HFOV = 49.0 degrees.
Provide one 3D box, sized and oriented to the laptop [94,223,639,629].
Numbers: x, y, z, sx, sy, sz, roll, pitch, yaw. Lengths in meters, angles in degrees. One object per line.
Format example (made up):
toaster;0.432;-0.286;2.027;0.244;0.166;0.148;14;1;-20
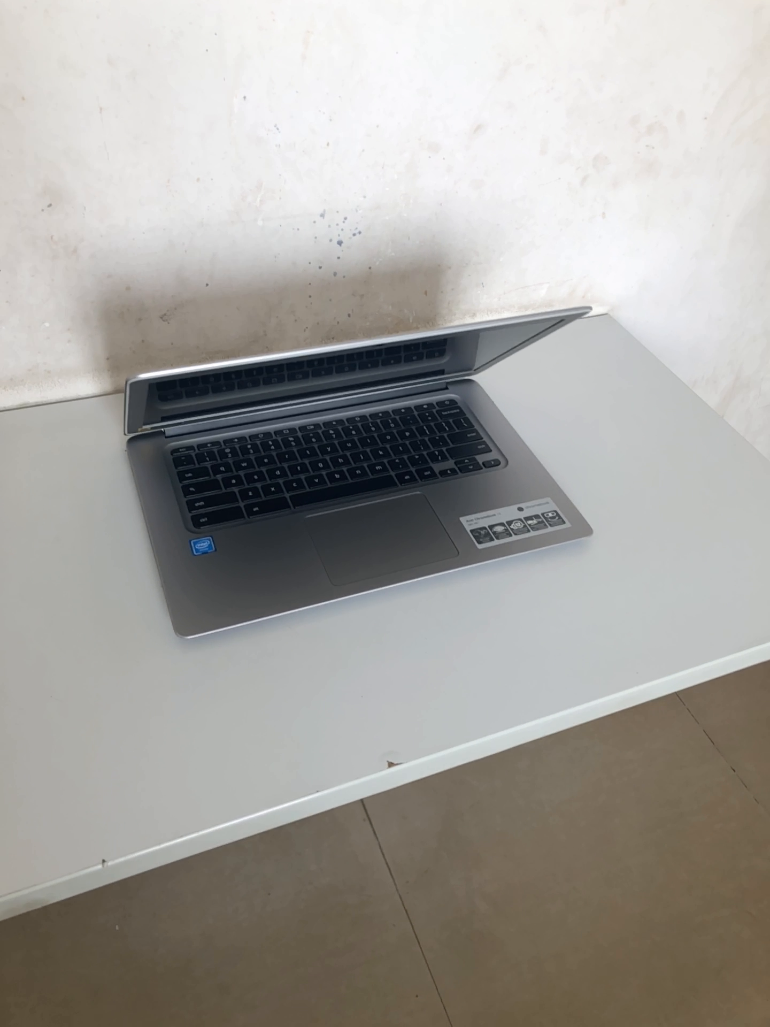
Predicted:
laptop;-0.025;-0.084;0.644;0.326;0.155;0.222;-12;45;-18
